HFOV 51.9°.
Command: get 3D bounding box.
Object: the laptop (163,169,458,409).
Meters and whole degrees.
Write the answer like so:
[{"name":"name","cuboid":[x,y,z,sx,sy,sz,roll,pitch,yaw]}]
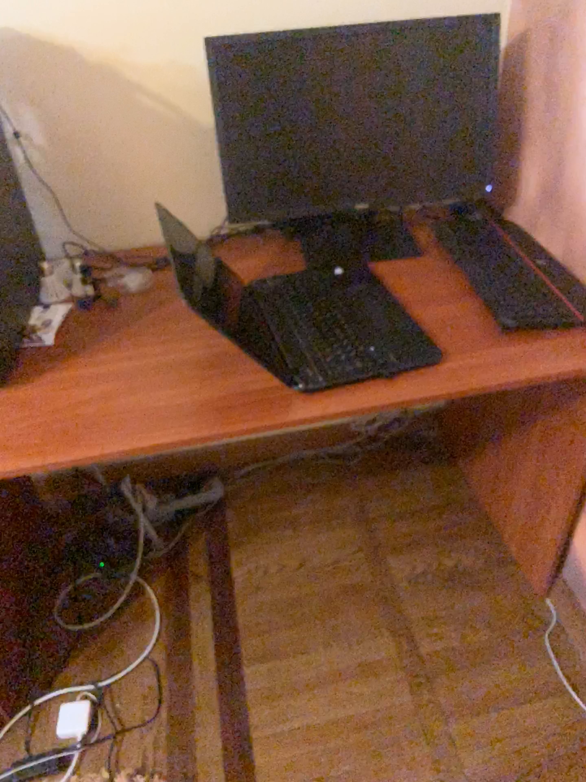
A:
[{"name":"laptop","cuboid":[0.004,-0.192,0.996,0.368,0.181,0.367,-13,38,-9]}]
